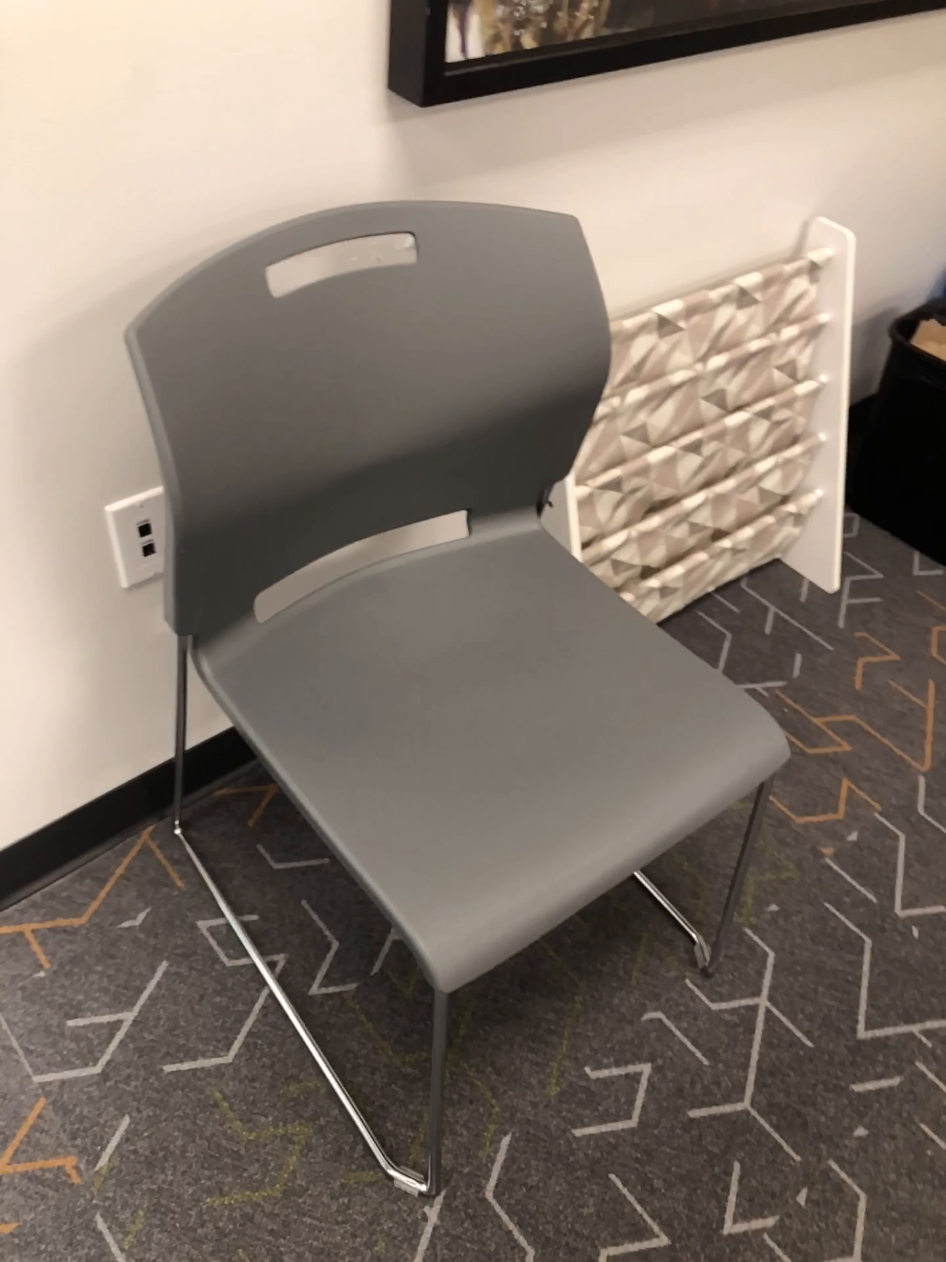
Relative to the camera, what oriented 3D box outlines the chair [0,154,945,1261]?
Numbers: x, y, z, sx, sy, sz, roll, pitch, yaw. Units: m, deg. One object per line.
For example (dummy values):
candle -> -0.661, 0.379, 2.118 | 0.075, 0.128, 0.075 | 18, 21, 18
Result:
chair -> -0.015, 0.047, 1.080 | 0.581, 0.735, 0.673 | -26, 53, -29
